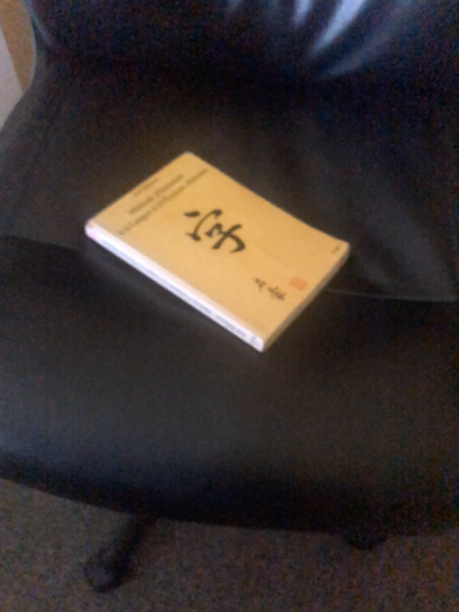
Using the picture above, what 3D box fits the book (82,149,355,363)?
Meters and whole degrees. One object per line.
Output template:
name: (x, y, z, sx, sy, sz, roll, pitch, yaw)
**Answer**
book: (-0.012, -0.063, 0.513, 0.220, 0.028, 0.153, 34, 60, 21)
